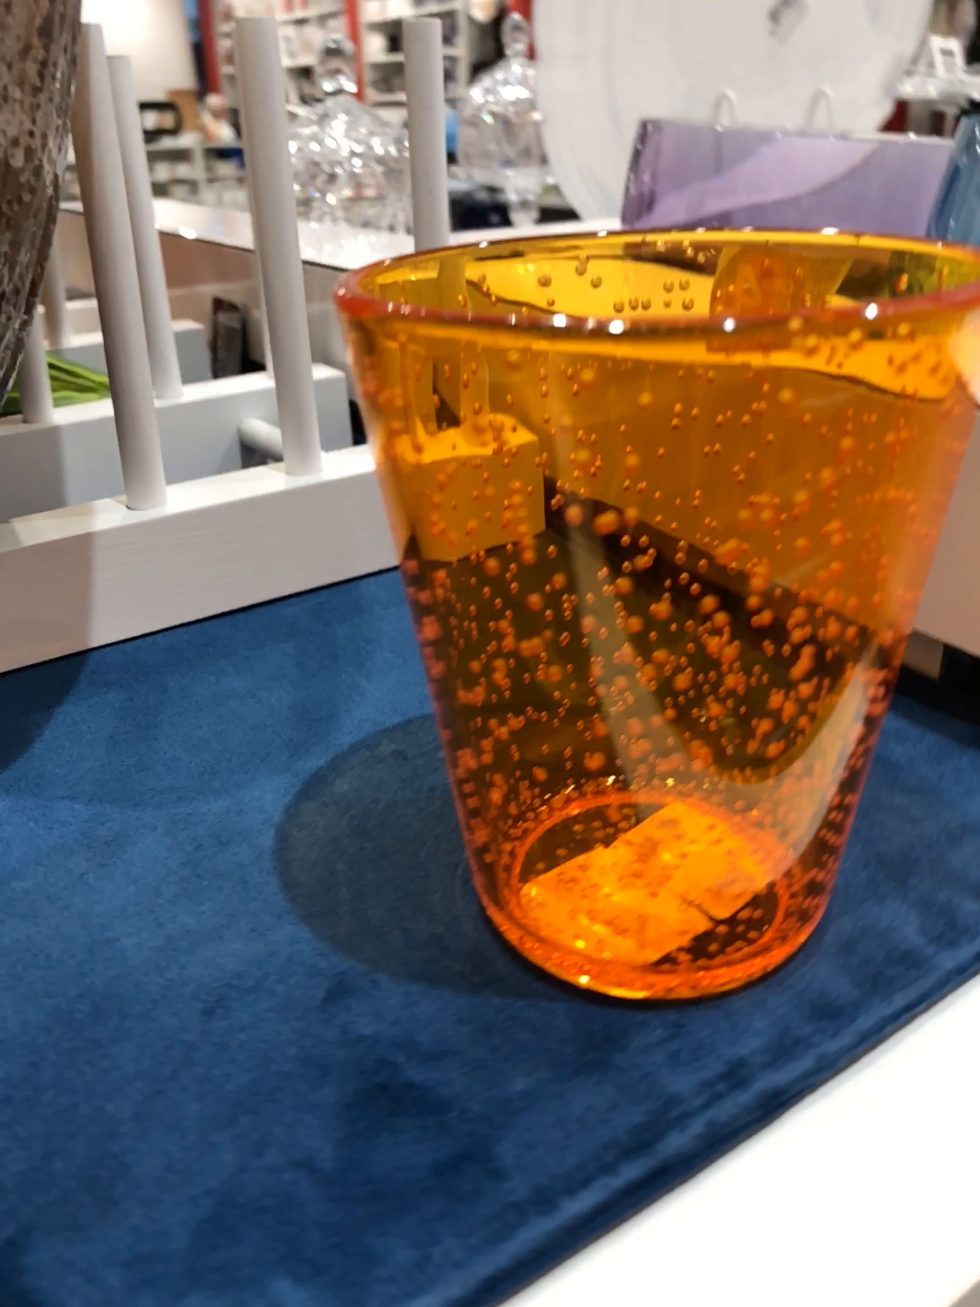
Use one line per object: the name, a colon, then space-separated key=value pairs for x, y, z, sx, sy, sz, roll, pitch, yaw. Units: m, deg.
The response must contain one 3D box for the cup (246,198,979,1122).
cup: x=0.025 y=-0.011 z=0.152 sx=0.070 sy=0.090 sz=0.080 roll=22 pitch=34 yaw=39
